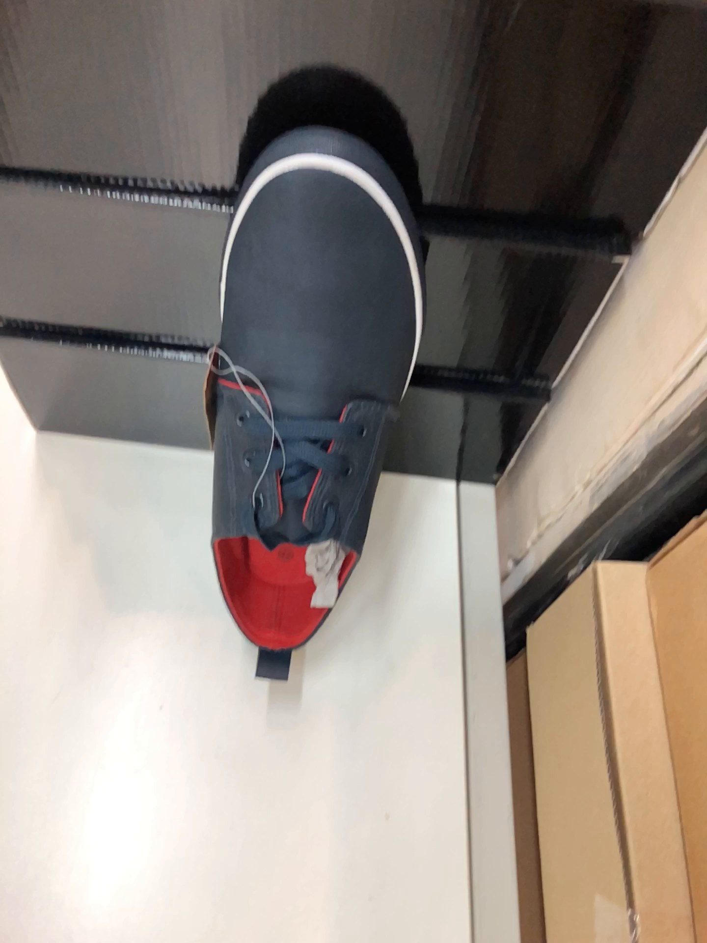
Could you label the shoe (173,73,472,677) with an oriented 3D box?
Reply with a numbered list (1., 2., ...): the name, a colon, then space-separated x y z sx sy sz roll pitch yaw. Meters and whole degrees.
1. shoe: -0.020 -0.033 0.388 0.103 0.268 0.101 9 37 2
